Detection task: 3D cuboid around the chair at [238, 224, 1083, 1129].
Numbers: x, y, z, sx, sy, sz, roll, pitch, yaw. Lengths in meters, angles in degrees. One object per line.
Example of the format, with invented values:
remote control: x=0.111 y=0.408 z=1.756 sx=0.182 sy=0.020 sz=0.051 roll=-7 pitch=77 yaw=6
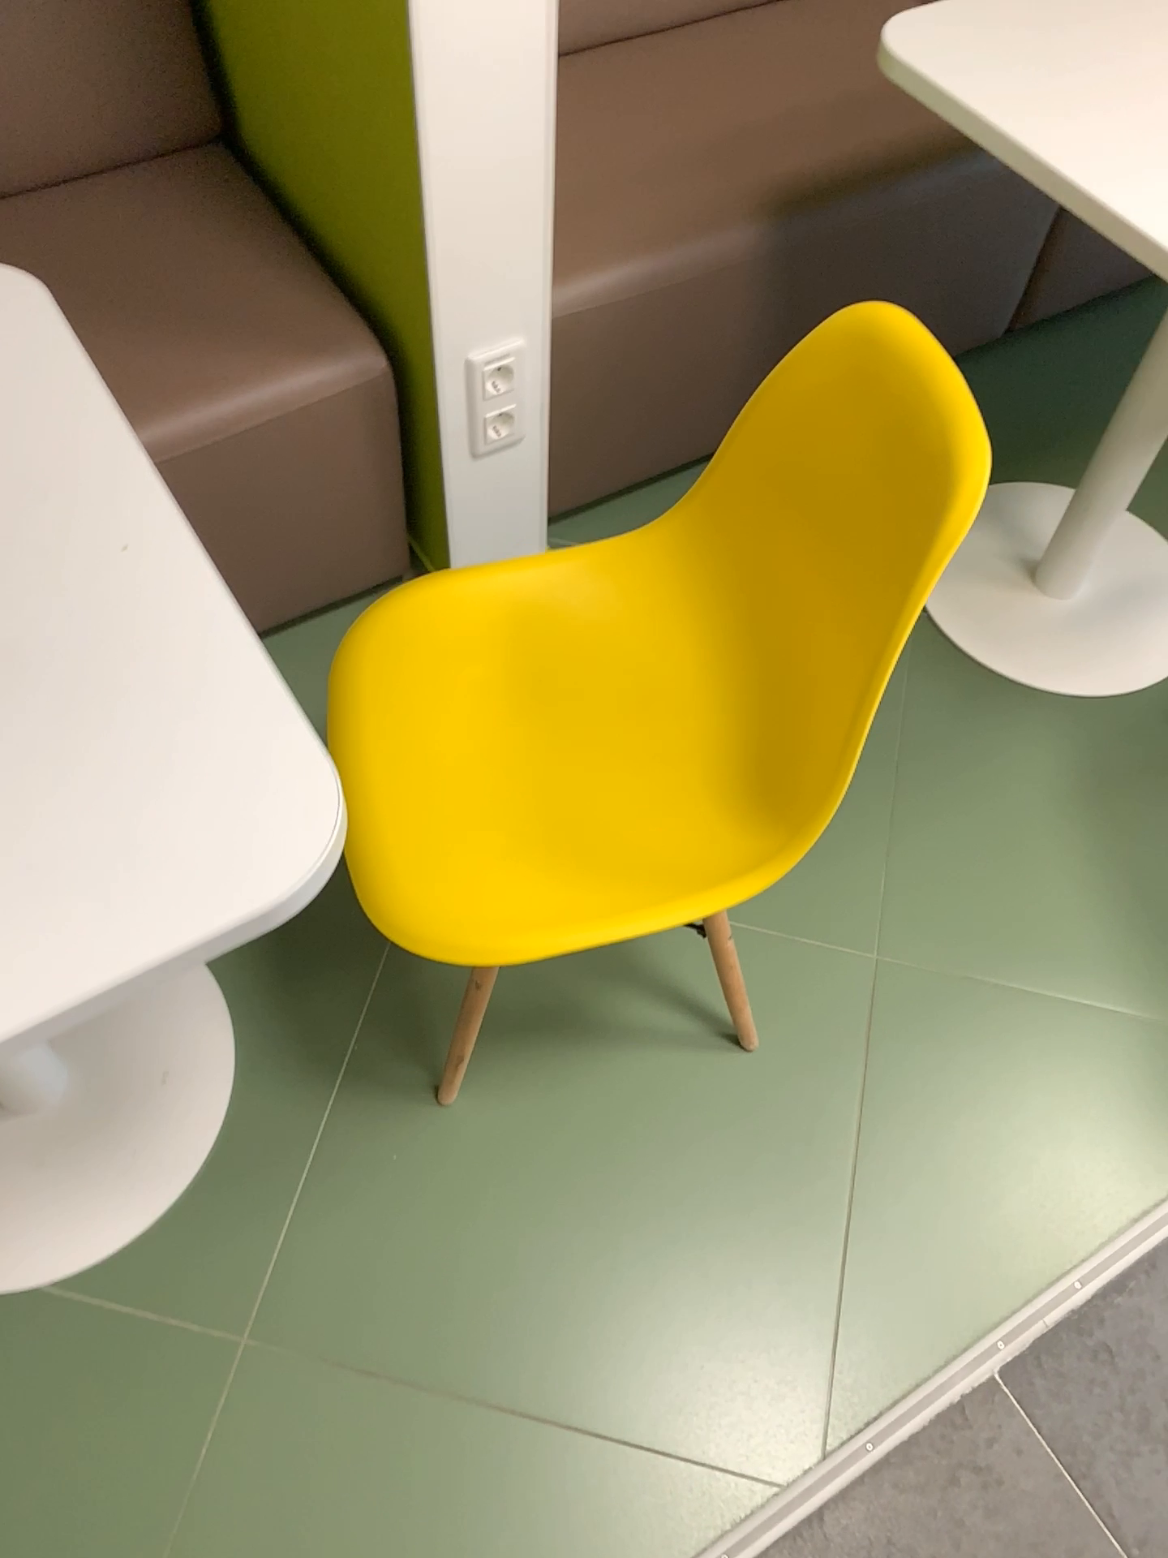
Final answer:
chair: x=0.009 y=-0.034 z=1.194 sx=0.520 sy=0.817 sz=0.411 roll=-9 pitch=57 yaw=-10
